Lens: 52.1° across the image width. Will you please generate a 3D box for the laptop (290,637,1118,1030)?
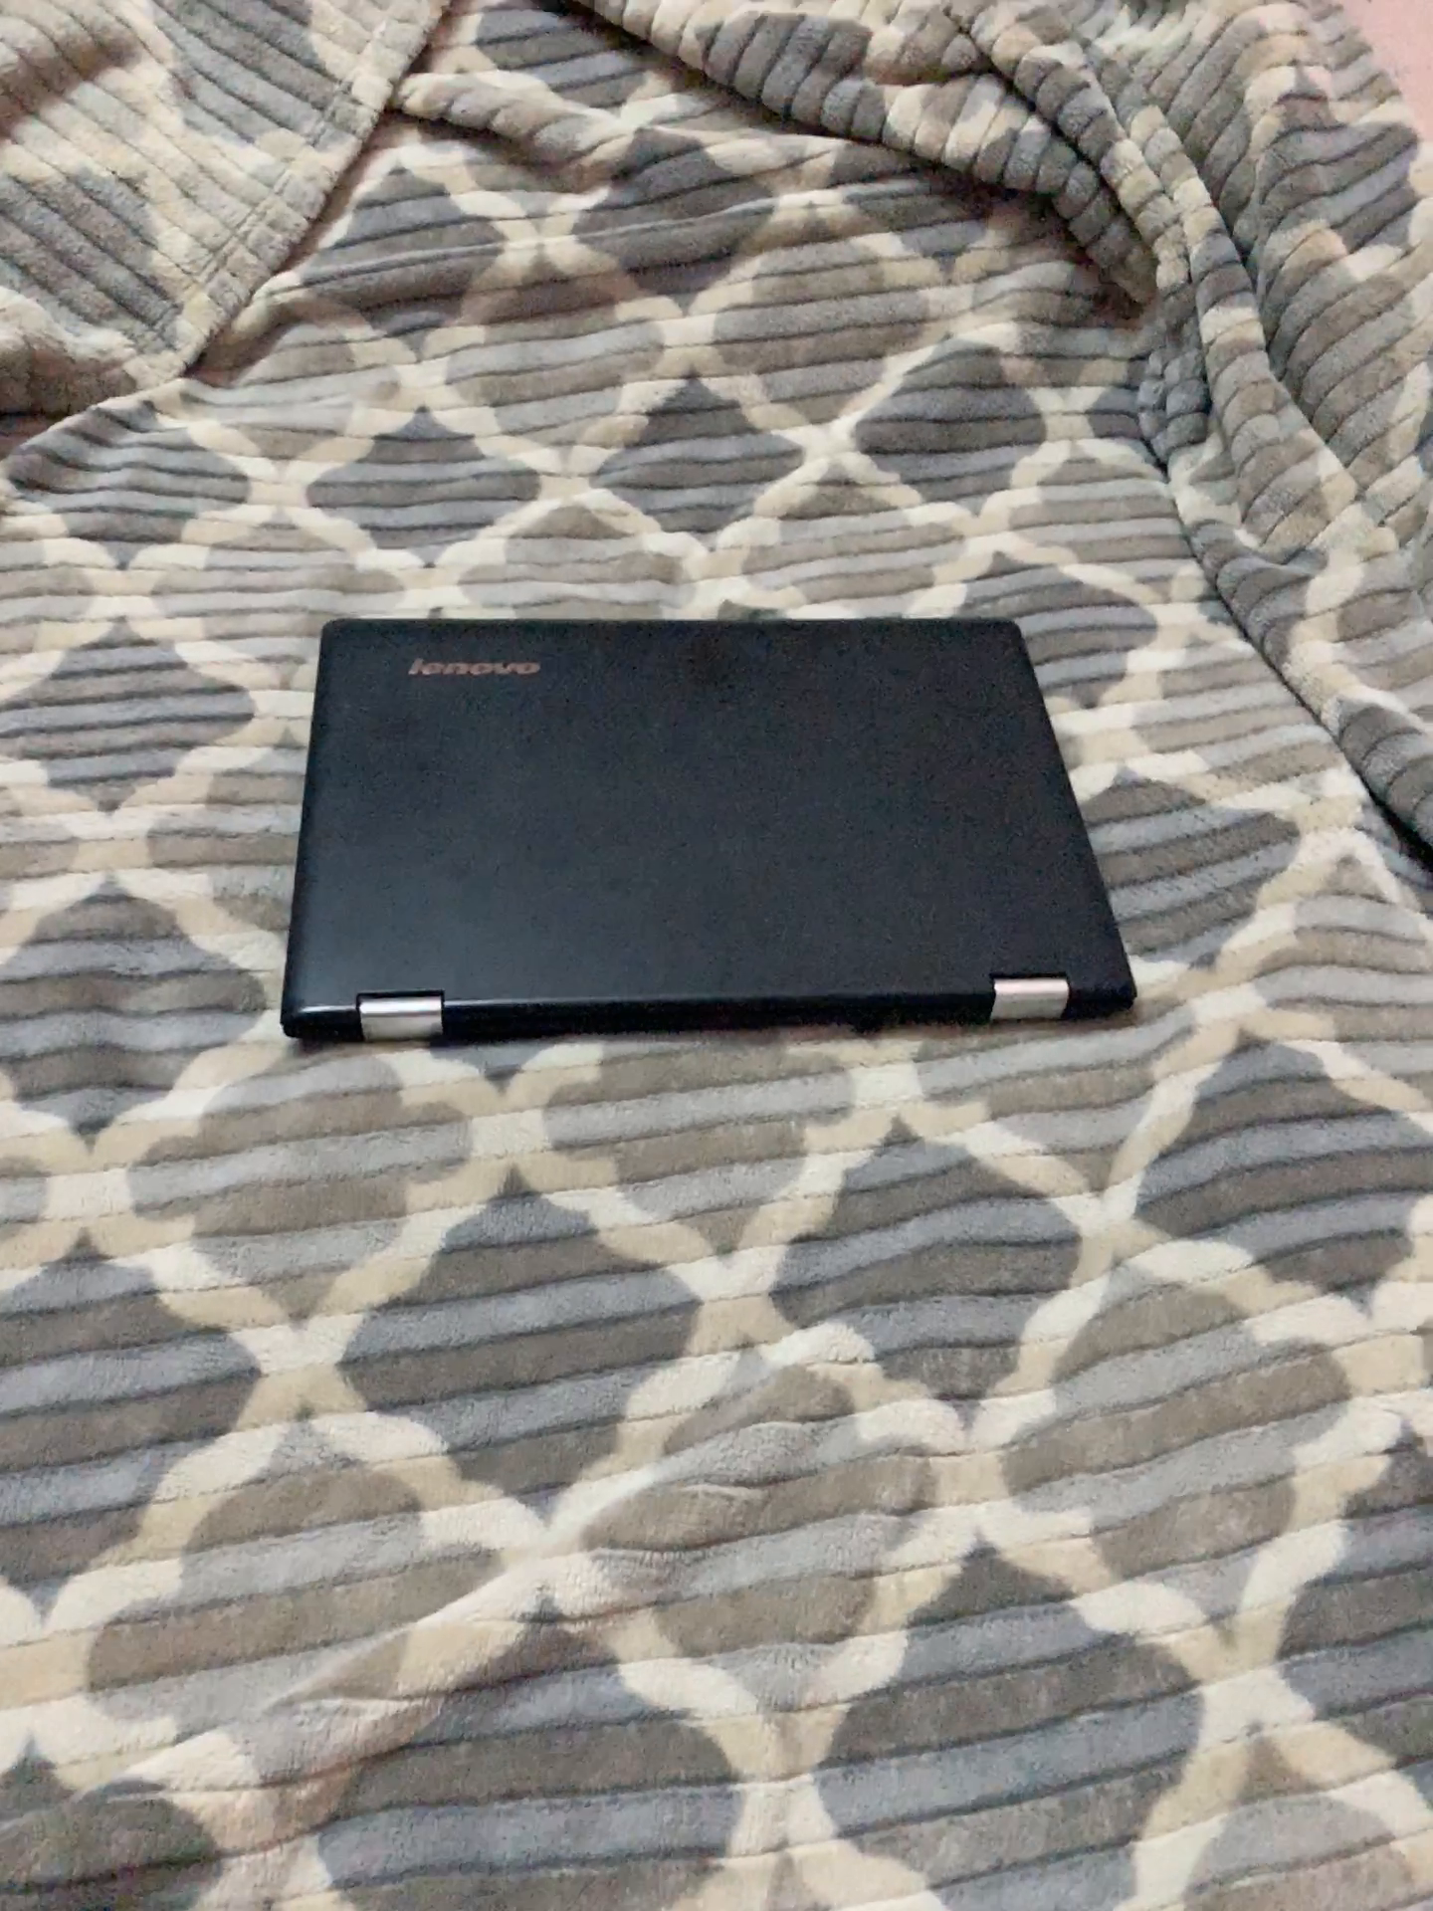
[{"bbox_3d":[-0.008,-0.067,0.665,0.338,0.003,0.228,-1,53,-7],"label":"laptop"}]
